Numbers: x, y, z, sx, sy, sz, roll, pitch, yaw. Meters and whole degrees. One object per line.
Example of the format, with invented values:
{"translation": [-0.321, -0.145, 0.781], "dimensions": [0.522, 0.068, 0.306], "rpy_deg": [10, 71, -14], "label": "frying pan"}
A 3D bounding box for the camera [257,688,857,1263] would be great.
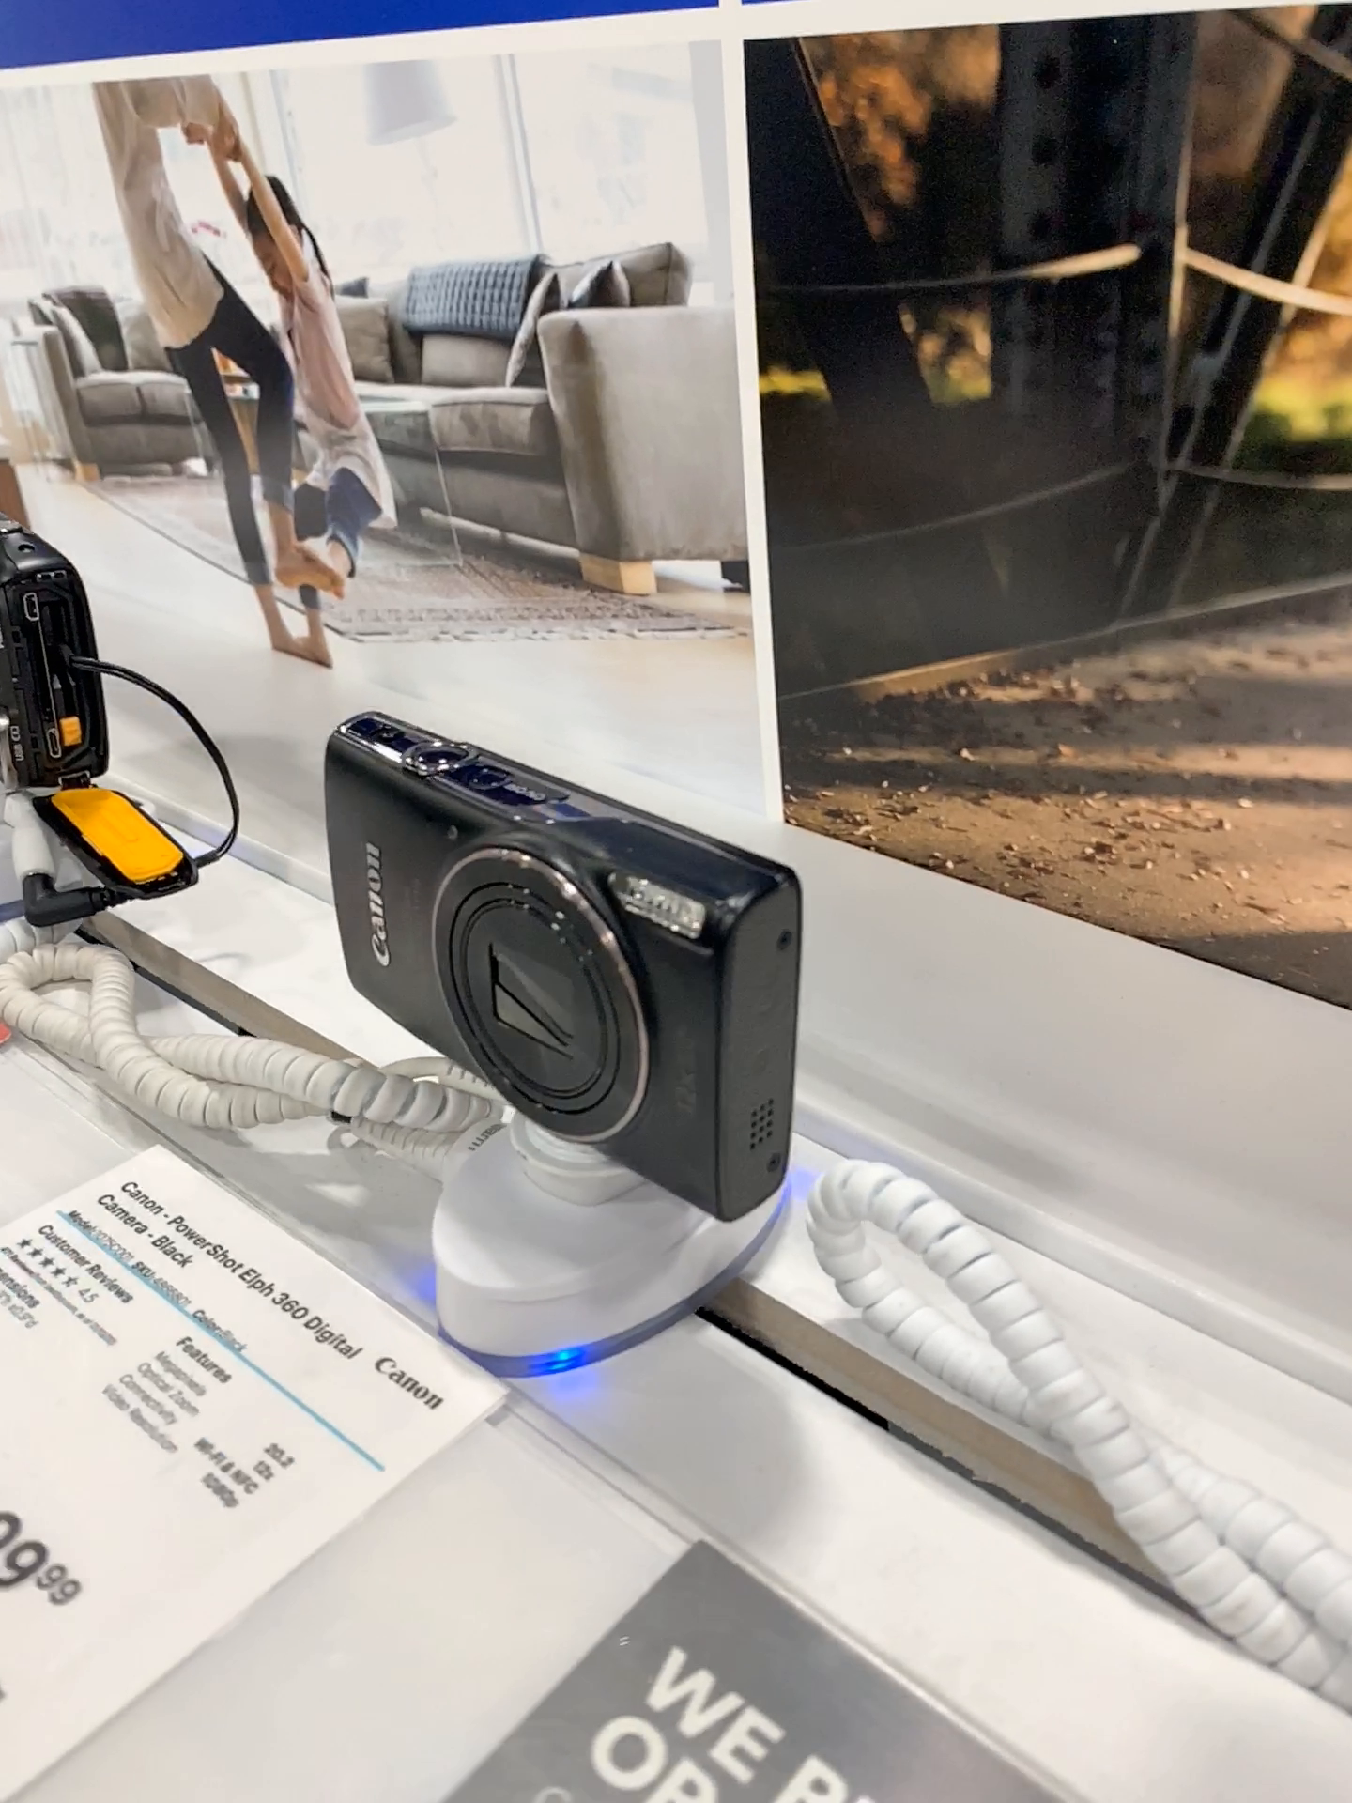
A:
{"translation": [-0.024, 0.007, 0.231], "dimensions": [0.106, 0.055, 0.027], "rpy_deg": [23, 33, 35], "label": "camera"}
